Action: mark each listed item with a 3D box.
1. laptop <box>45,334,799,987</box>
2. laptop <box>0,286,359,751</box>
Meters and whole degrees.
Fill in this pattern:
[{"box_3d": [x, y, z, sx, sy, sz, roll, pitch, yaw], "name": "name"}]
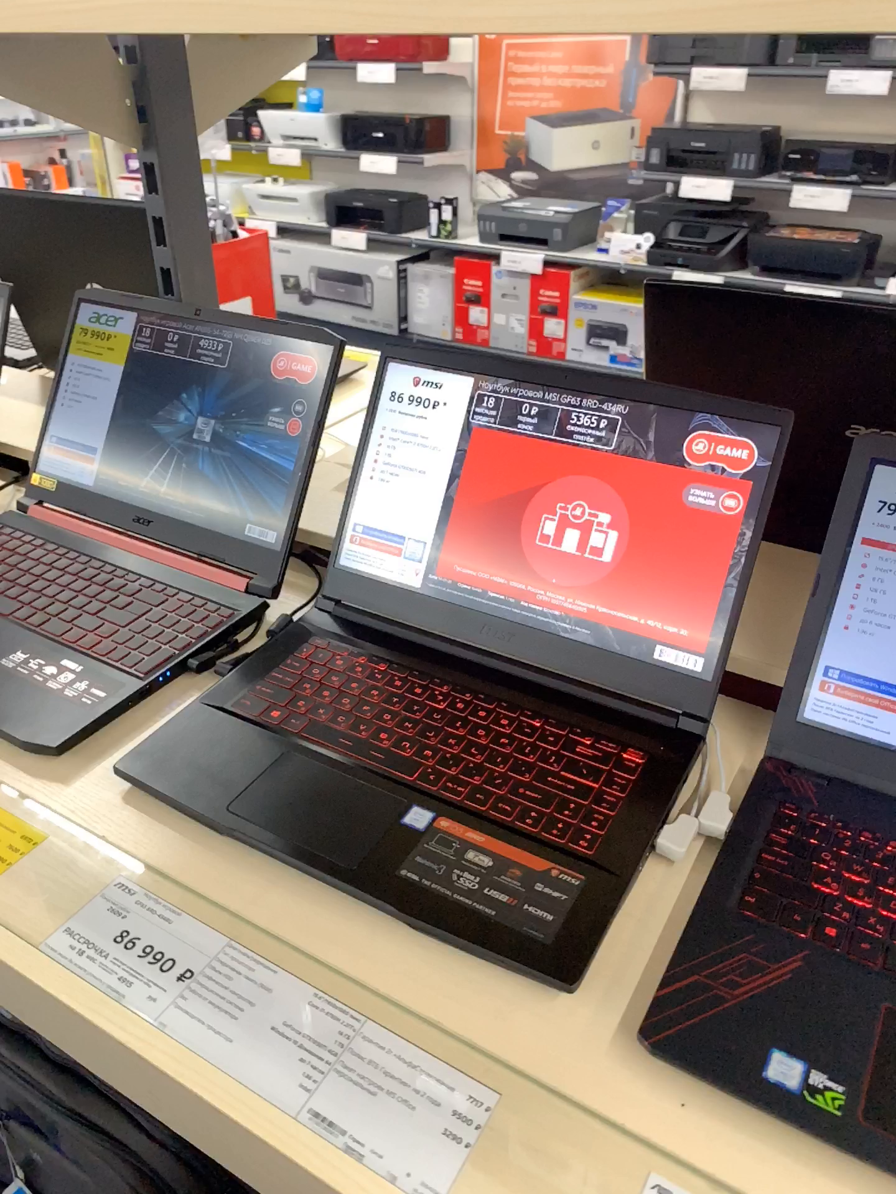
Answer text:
[{"box_3d": [0.008, -0.010, 0.654, 0.350, 0.204, 0.371, 16, 36, 25], "name": "laptop"}, {"box_3d": [-0.335, -0.107, 0.806, 0.334, 0.211, 0.372, 18, 36, 27], "name": "laptop"}]
